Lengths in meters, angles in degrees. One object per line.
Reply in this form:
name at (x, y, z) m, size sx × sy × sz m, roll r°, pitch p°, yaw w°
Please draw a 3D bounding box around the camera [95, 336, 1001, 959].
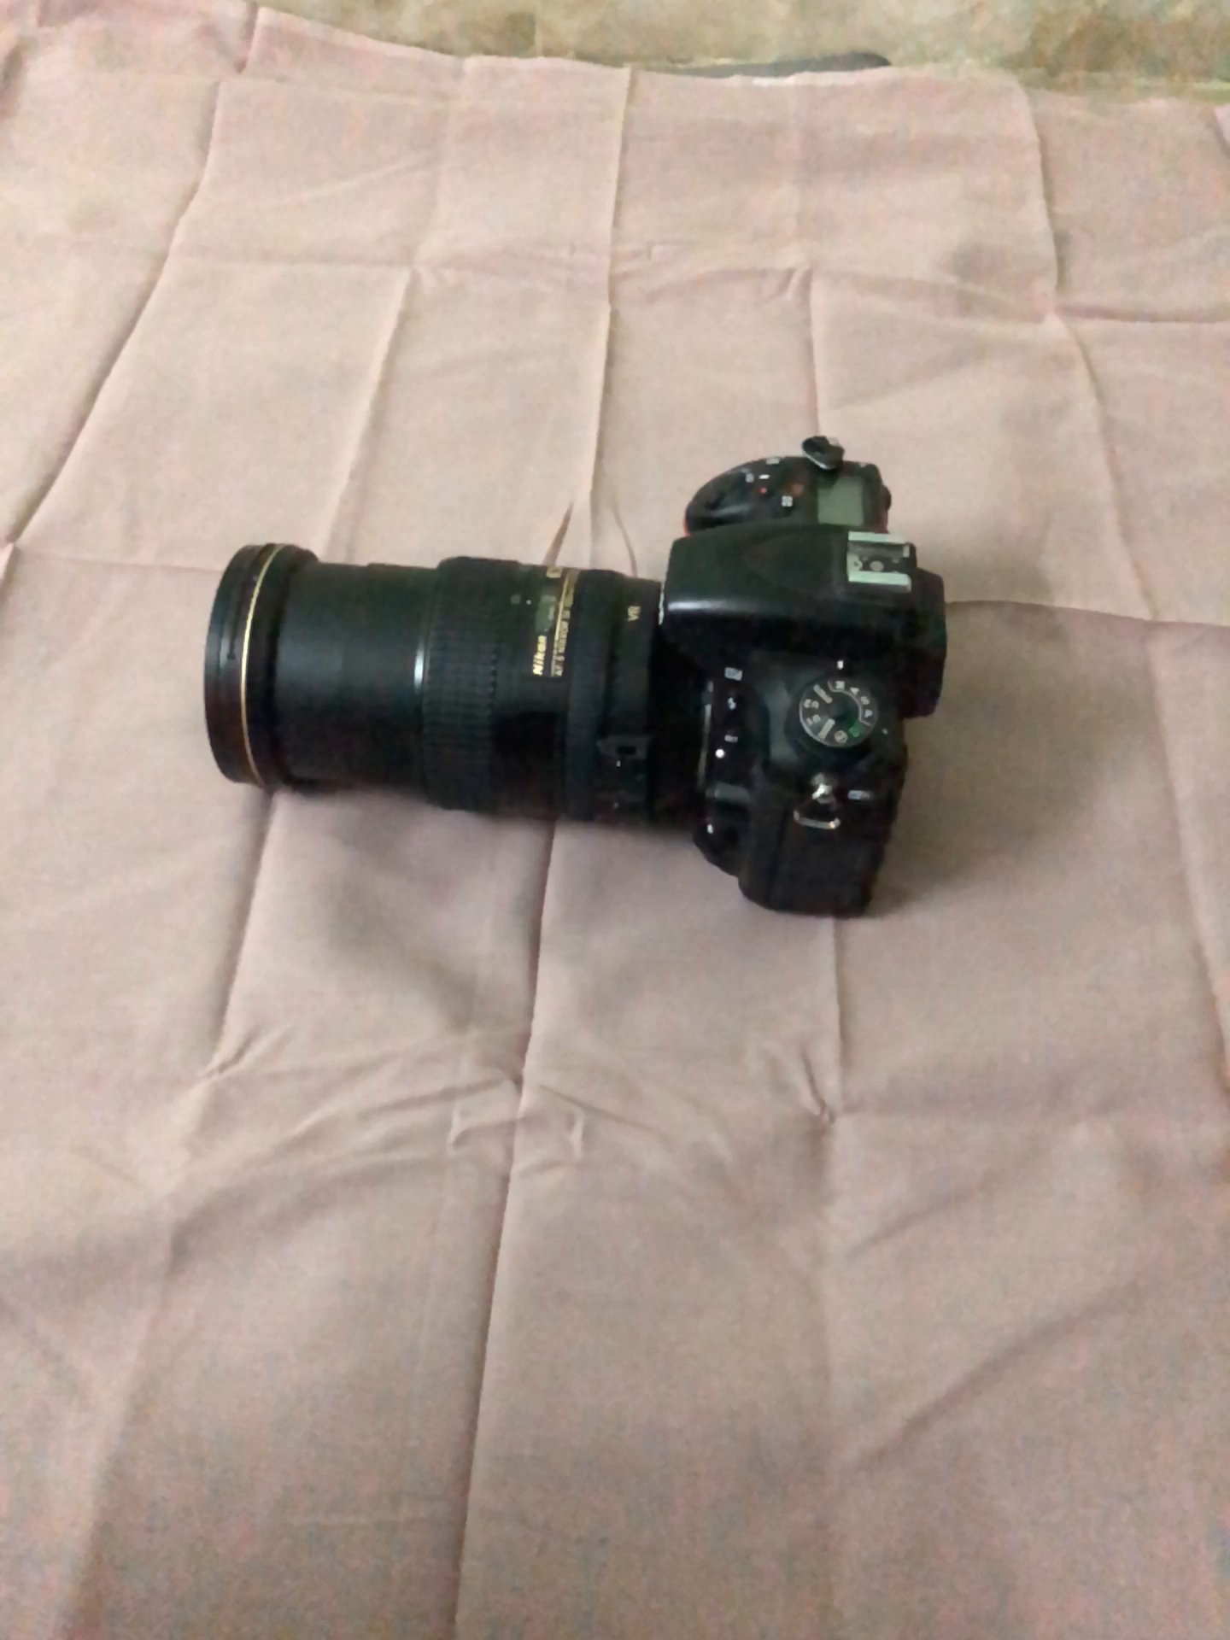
camera at (-0.013, -0.055, 0.431) m, size 0.231 × 0.109 × 0.139 m, roll 5°, pitch 54°, yaw 2°
